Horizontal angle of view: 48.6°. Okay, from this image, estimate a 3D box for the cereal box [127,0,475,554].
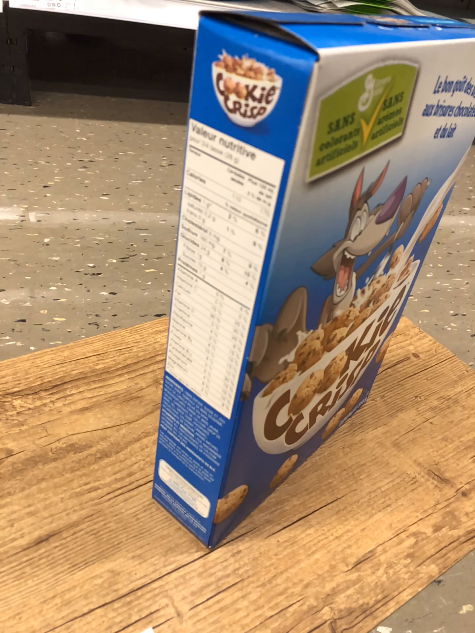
[{"bbox_3d":[0.039,-0.023,0.300,0.060,0.269,0.201,33,42,27],"label":"cereal box"}]
